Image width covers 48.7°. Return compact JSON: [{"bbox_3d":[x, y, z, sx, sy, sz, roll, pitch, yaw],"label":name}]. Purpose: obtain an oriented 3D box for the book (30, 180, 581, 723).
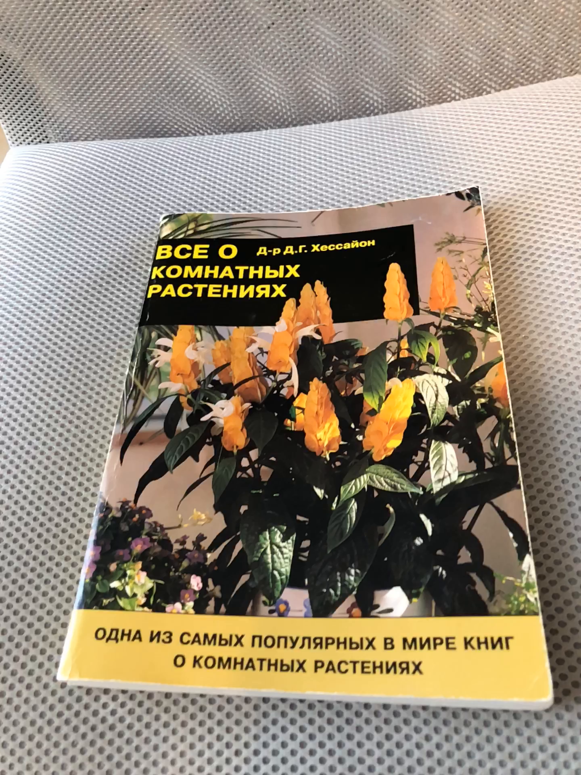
[{"bbox_3d":[0.007,0.008,0.272,0.170,0.030,0.231,-2,56,8],"label":"book"}]
